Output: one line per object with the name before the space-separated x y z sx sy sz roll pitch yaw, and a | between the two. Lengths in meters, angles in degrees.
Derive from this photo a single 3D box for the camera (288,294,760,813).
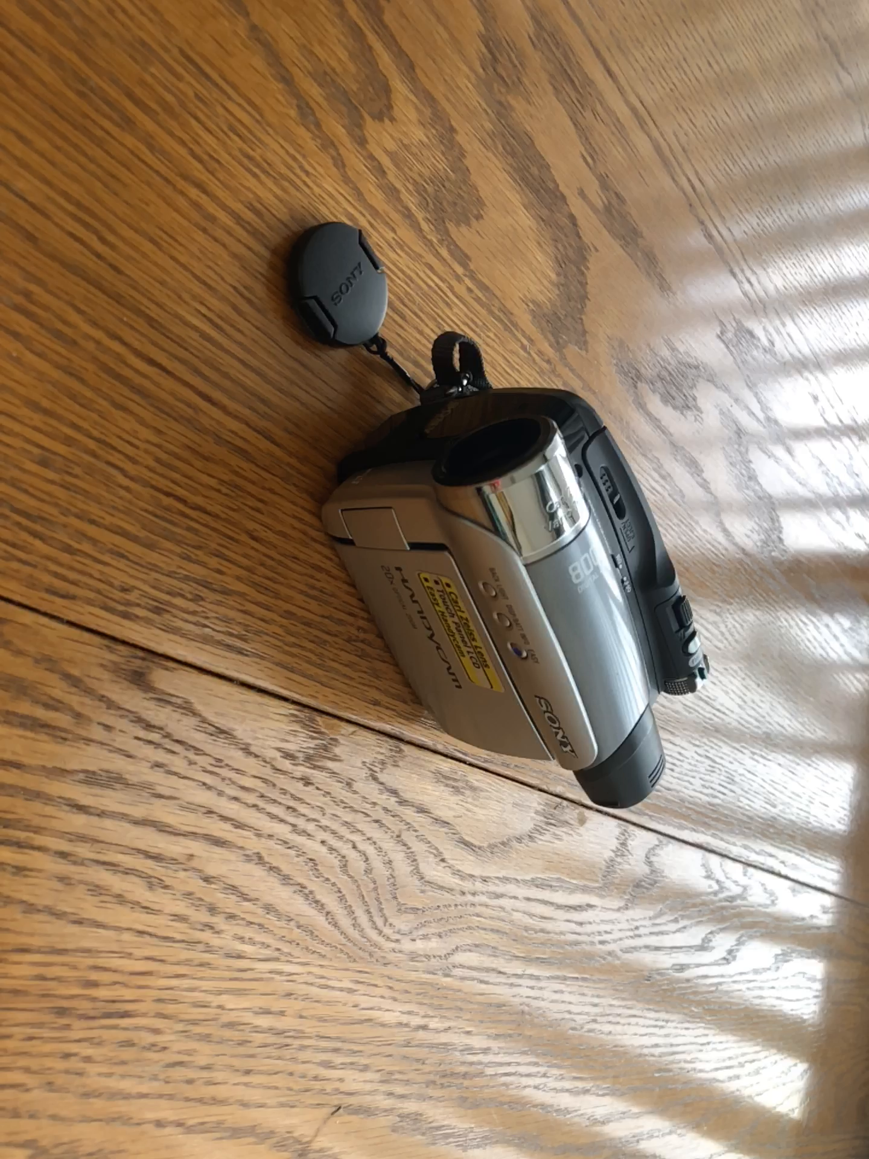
camera | 0.032 -0.007 0.278 0.080 0.072 0.112 -50 127 -34
